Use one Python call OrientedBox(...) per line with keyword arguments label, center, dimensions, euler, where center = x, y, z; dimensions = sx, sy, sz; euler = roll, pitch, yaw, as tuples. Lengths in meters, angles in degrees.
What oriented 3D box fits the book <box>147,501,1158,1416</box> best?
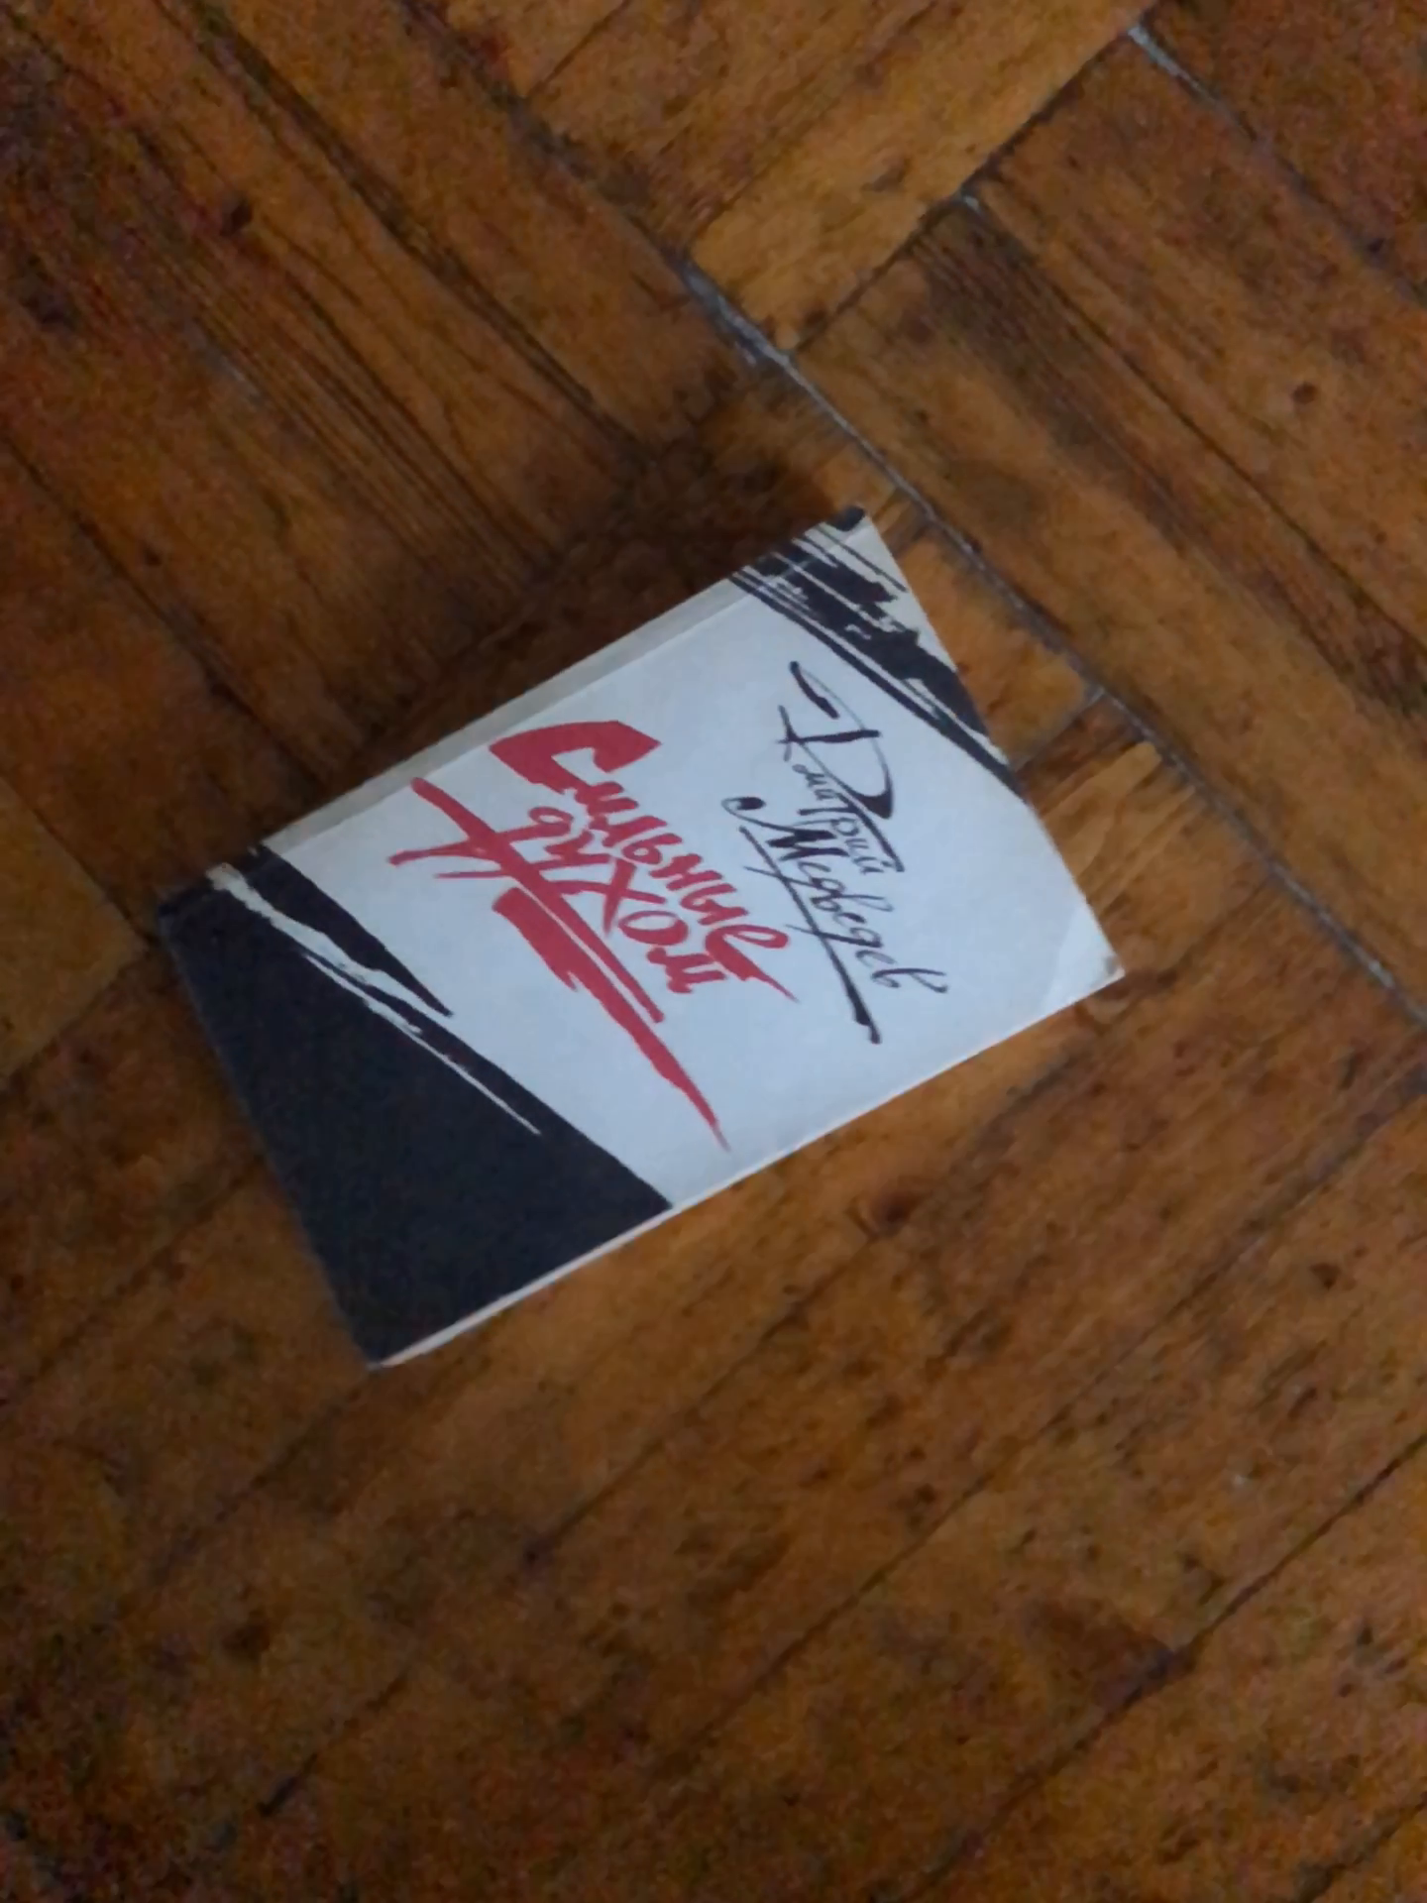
OrientedBox(label="book", center=(-0.017, 0.003, 0.414), dimensions=(0.210, 0.050, 0.140), euler=(-30, 84, 4))
